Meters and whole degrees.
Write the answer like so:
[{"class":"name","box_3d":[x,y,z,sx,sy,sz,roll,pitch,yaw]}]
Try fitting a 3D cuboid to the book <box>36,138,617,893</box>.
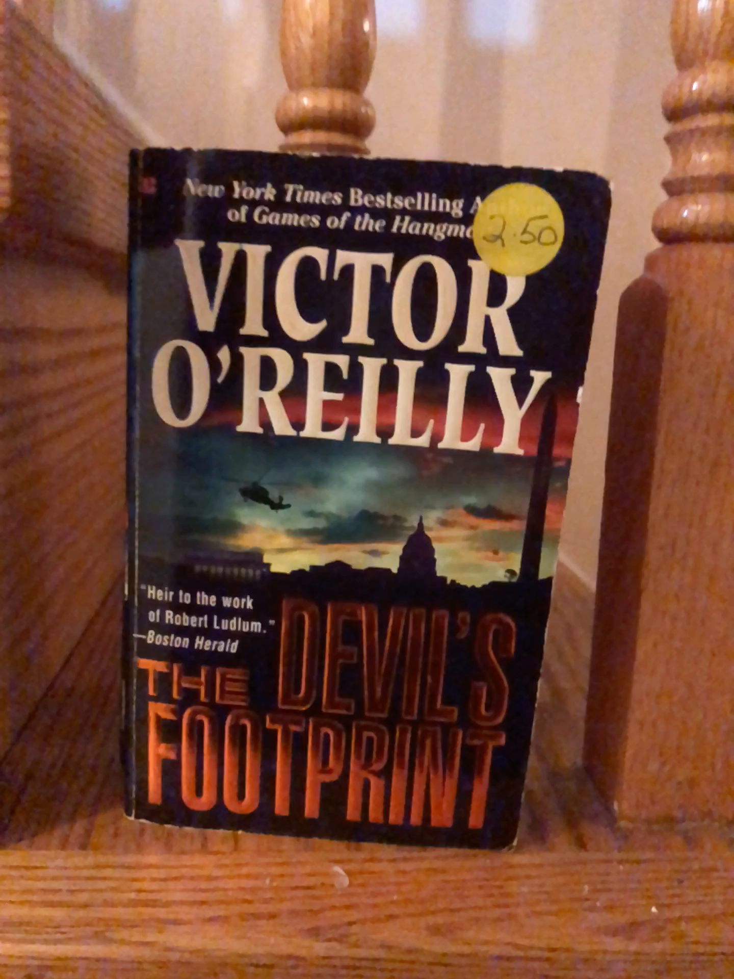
[{"class":"book","box_3d":[-0.011,0.006,0.212,0.120,0.170,0.050,4,15,7]}]
